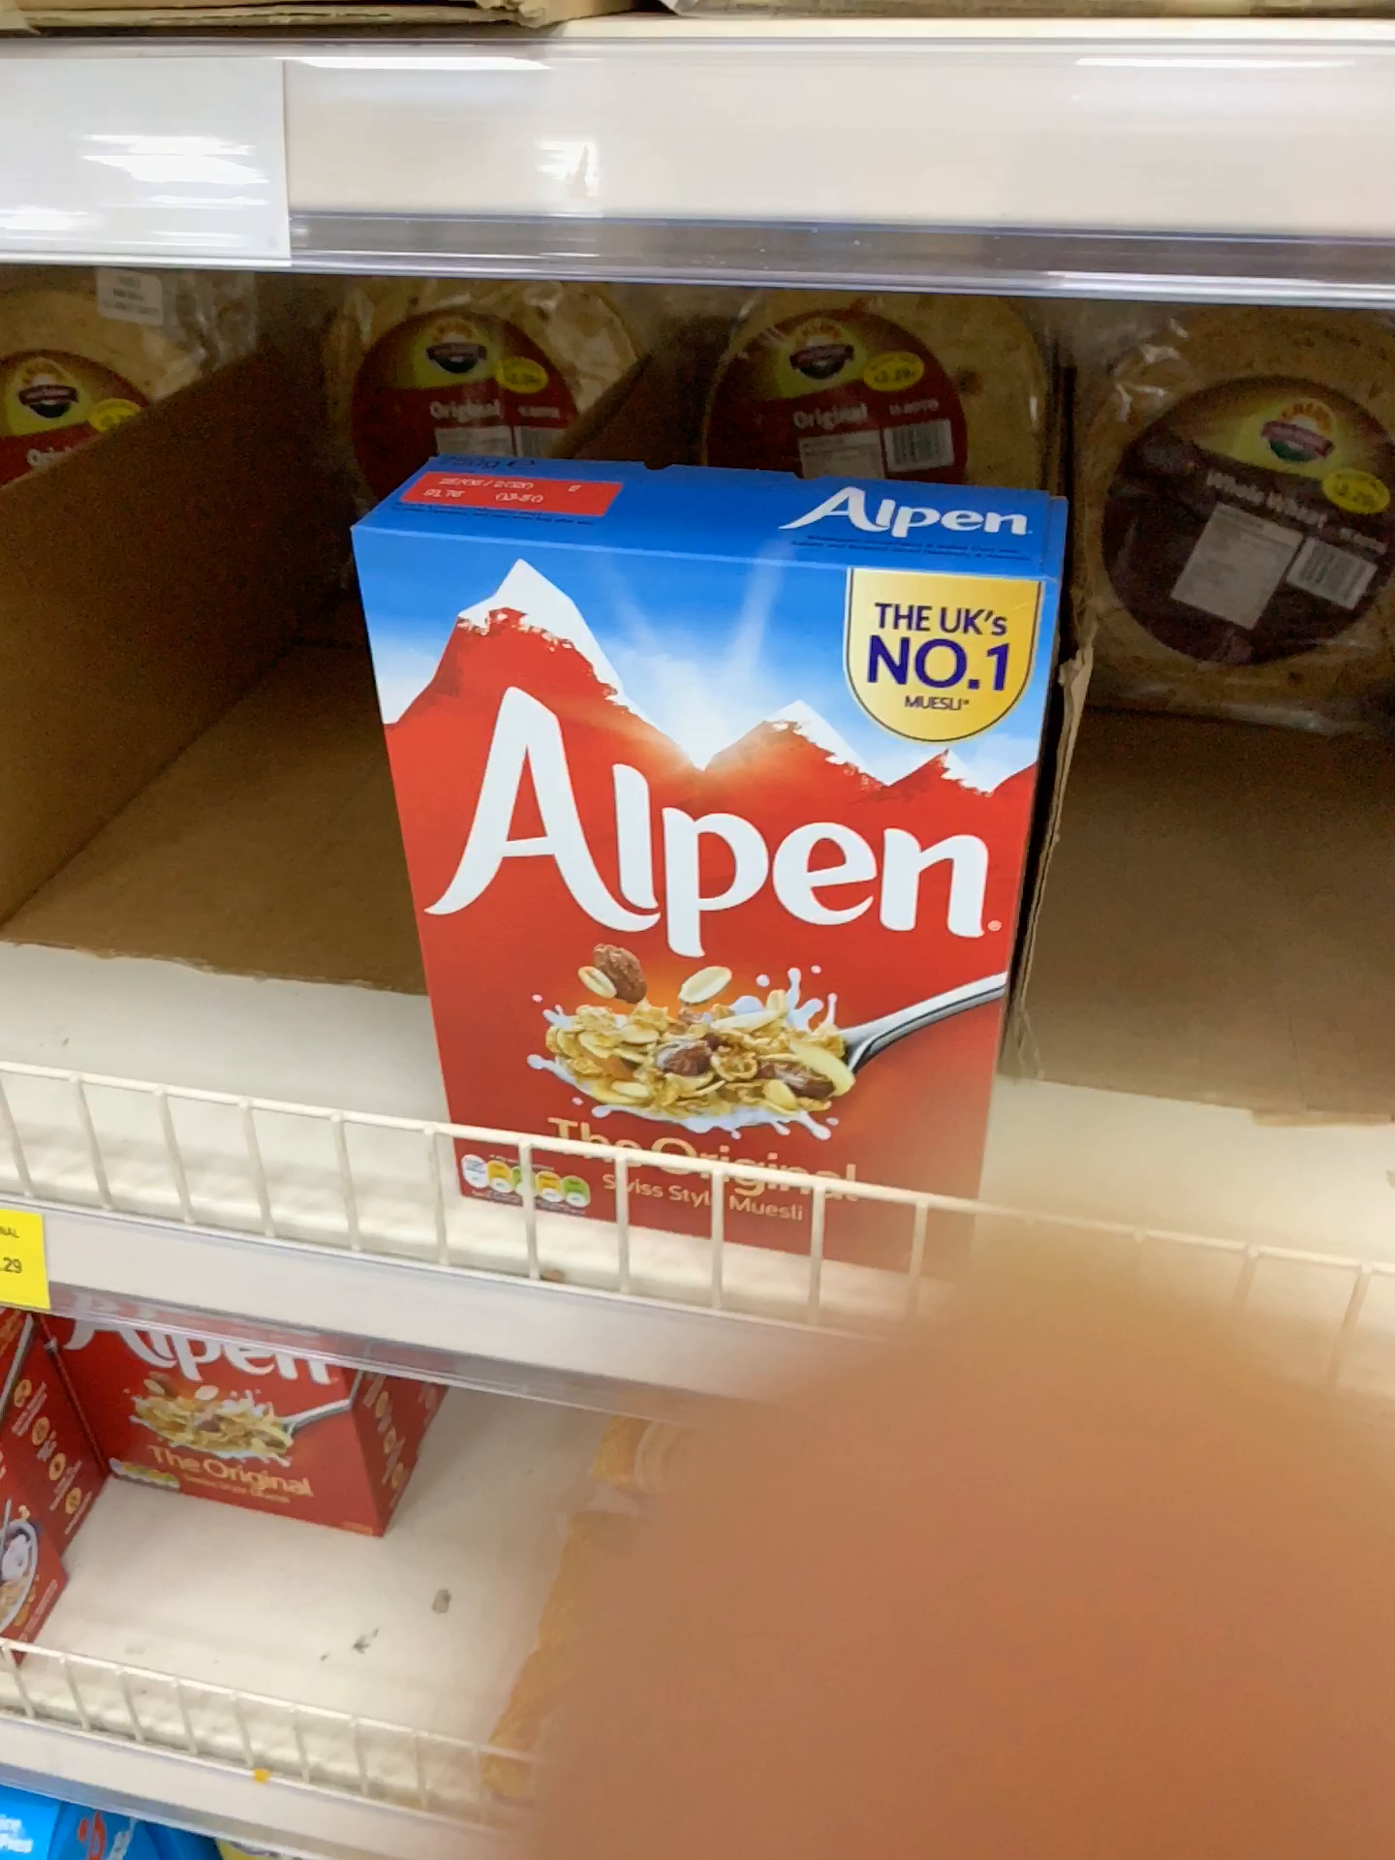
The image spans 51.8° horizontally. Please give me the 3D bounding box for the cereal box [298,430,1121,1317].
[{"bbox_3d":[0.007,-0.010,0.419,0.190,0.238,0.071,6,34,10],"label":"cereal box"}]
